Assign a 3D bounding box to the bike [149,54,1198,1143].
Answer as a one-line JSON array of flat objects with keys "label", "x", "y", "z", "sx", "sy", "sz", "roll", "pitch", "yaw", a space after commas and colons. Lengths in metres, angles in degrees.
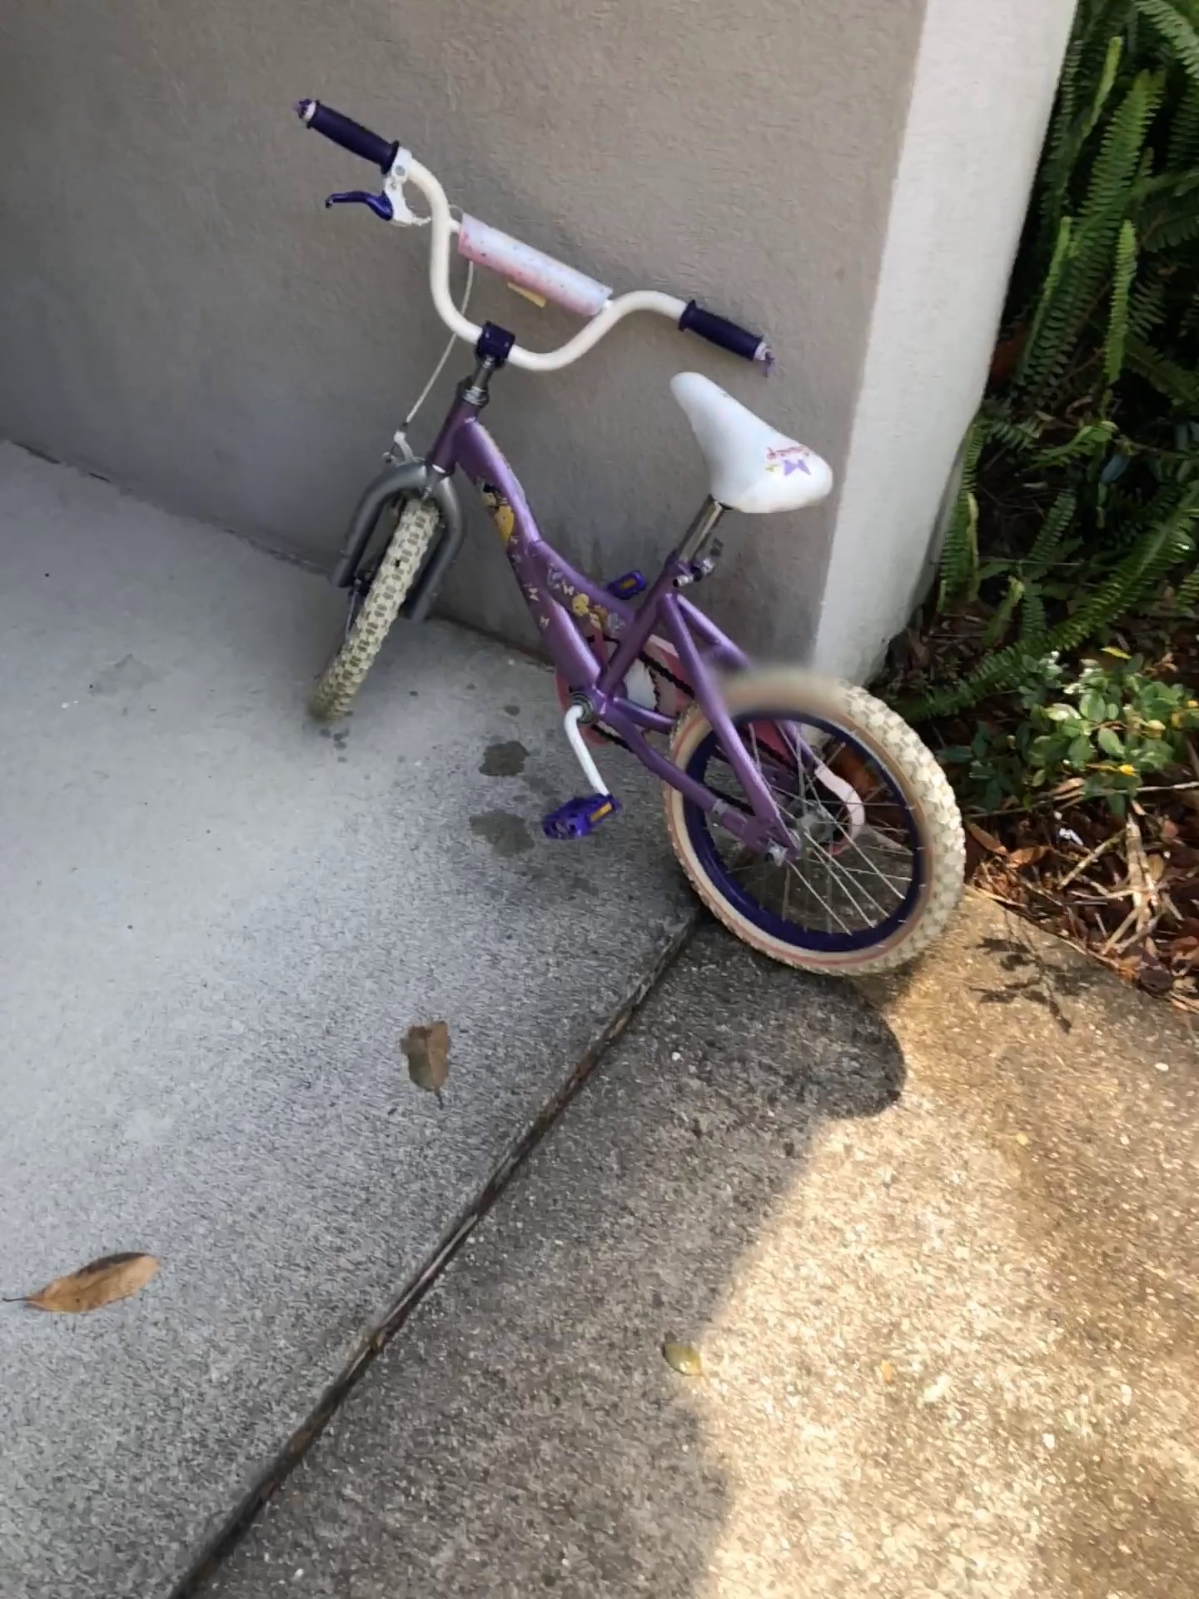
[{"label": "bike", "x": 0.089, "y": -0.269, "z": 1.512, "sx": 0.847, "sy": 0.816, "sz": 0.617, "roll": 30, "pitch": 50, "yaw": 27}]
